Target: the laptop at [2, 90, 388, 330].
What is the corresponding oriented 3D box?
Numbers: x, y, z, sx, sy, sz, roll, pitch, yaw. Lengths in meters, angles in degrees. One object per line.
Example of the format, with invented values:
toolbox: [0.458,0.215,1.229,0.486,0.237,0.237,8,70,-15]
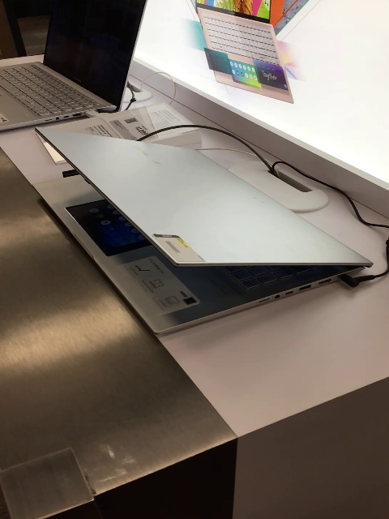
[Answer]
laptop: [-0.016,-0.083,0.586,0.254,0.099,0.320,-20,45,-26]
